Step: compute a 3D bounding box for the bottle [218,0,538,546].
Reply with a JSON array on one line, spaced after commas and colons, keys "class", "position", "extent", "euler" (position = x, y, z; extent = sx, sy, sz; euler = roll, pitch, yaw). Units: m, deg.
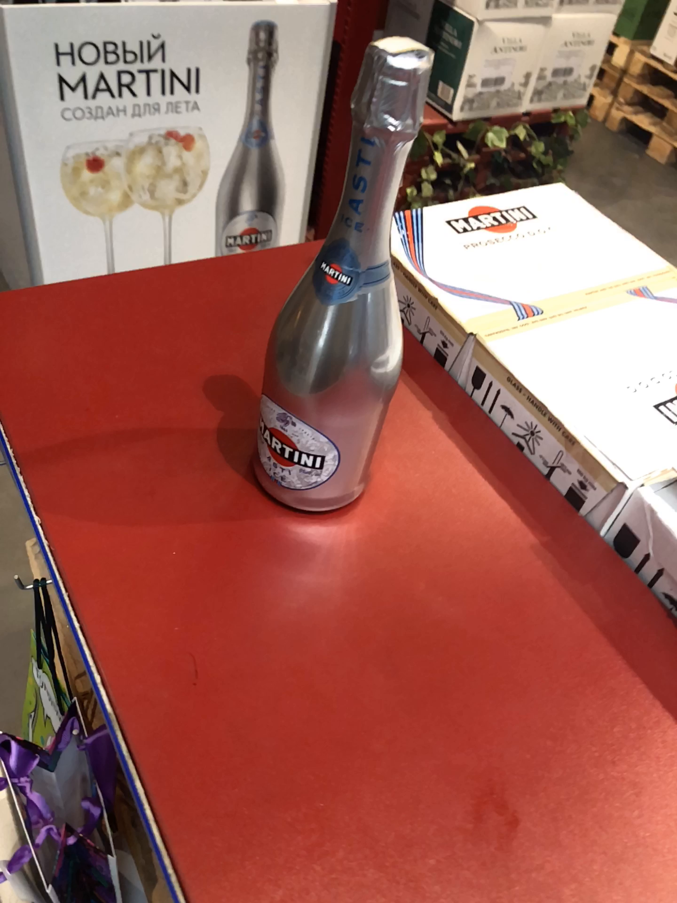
[{"class": "bottle", "position": [0.004, -0.090, 0.450], "extent": [0.100, 0.298, 0.100], "euler": [6, 46, -6]}]
